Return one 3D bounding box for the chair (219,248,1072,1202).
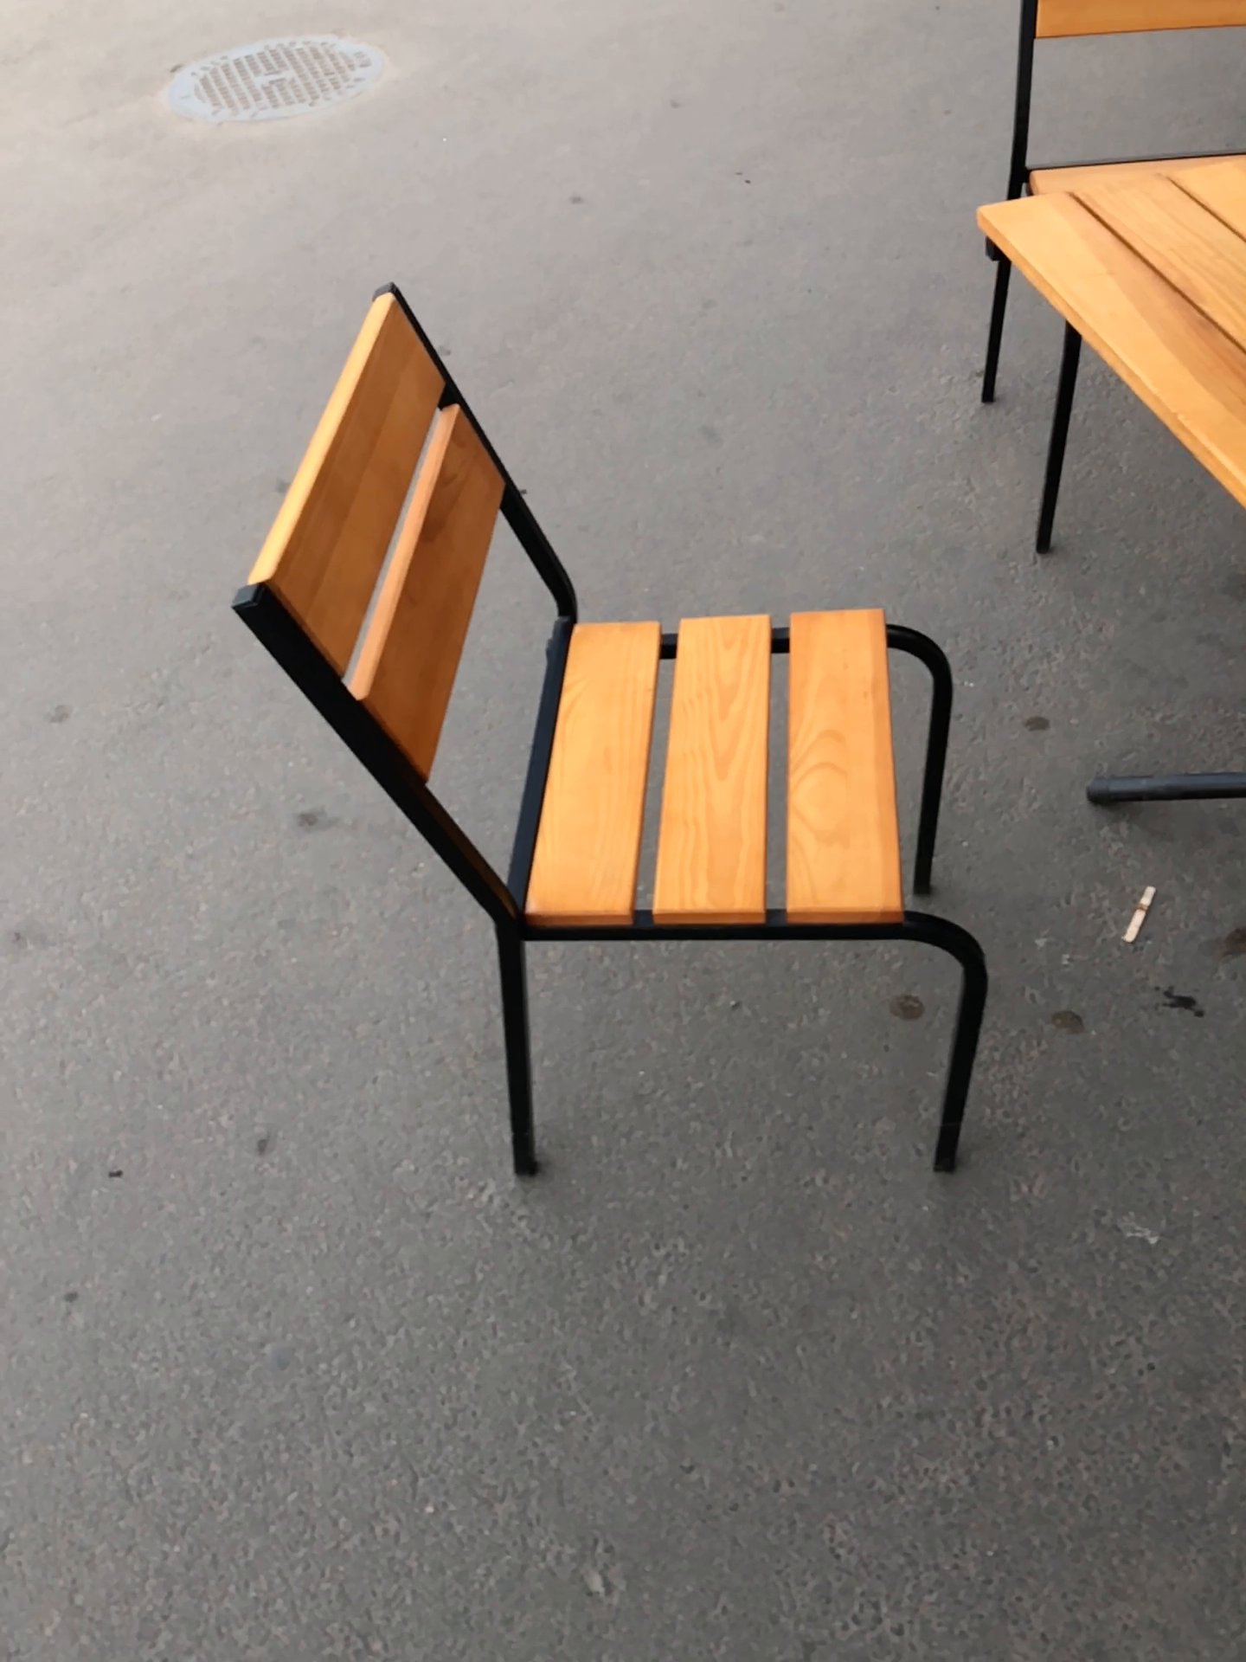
[{"bbox_3d":[0.063,-0.065,1.341,0.560,0.767,0.502,0,47,8],"label":"chair"}]
